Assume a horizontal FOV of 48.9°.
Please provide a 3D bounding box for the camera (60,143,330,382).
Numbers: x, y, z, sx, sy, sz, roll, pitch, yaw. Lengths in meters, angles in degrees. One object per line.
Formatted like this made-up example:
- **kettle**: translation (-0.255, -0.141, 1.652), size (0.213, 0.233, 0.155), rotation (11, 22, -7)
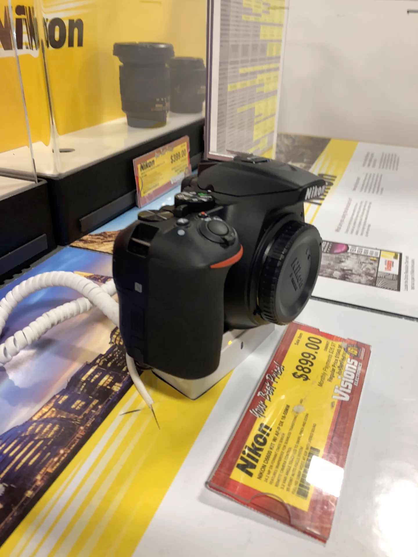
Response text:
- **camera**: translation (0.000, -0.024, 0.274), size (0.080, 0.090, 0.140), rotation (18, 28, 34)
